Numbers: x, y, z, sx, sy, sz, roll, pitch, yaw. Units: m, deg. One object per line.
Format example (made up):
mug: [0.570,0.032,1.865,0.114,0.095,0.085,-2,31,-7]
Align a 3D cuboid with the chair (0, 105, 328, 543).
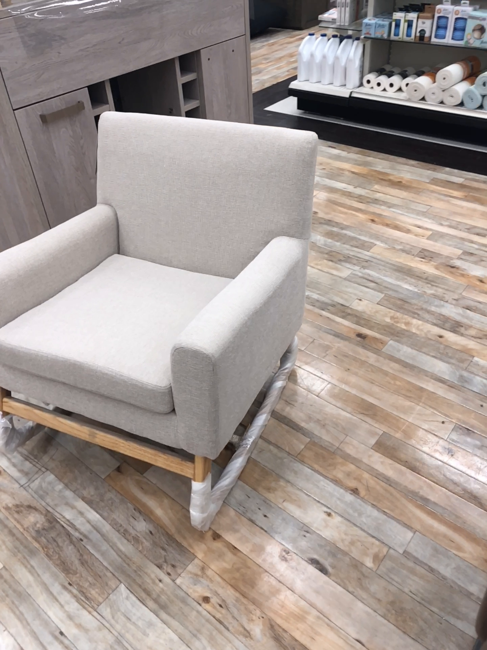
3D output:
chair: [-0.248,-0.070,1.402,0.701,0.707,0.742,14,42,21]
